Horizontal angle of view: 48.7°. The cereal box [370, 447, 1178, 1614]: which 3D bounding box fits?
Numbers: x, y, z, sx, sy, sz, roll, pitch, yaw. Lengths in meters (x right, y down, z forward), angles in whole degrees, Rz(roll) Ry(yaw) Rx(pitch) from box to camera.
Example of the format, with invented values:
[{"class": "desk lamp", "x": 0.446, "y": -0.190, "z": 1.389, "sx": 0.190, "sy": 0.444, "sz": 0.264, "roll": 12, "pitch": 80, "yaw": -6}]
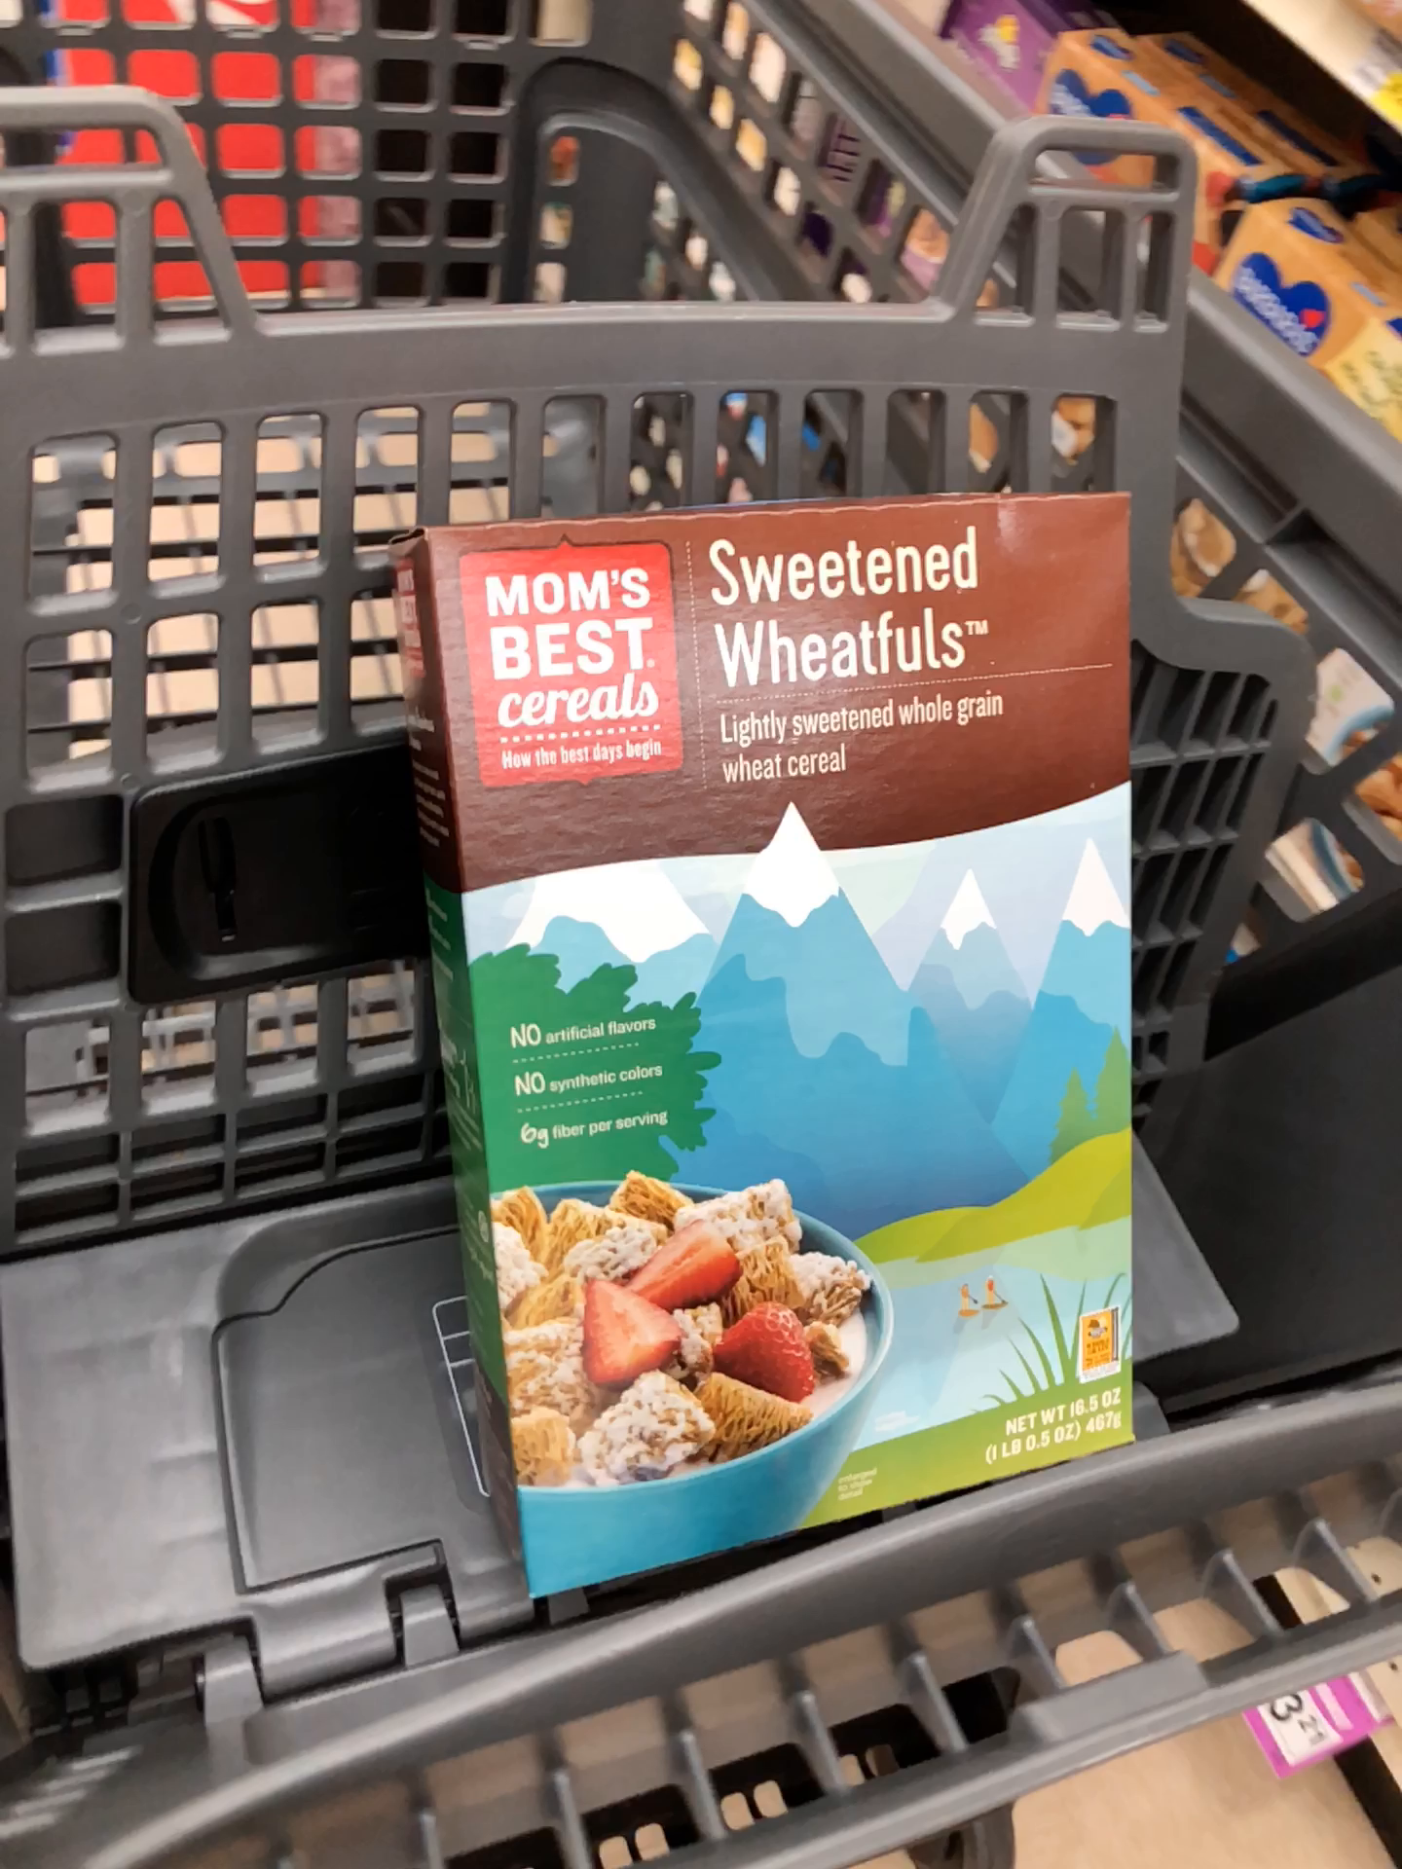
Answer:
[{"class": "cereal box", "x": 0.026, "y": 0.018, "z": 0.445, "sx": 0.200, "sy": 0.290, "sz": 0.080, "roll": -7, "pitch": 13, "yaw": -17}]
